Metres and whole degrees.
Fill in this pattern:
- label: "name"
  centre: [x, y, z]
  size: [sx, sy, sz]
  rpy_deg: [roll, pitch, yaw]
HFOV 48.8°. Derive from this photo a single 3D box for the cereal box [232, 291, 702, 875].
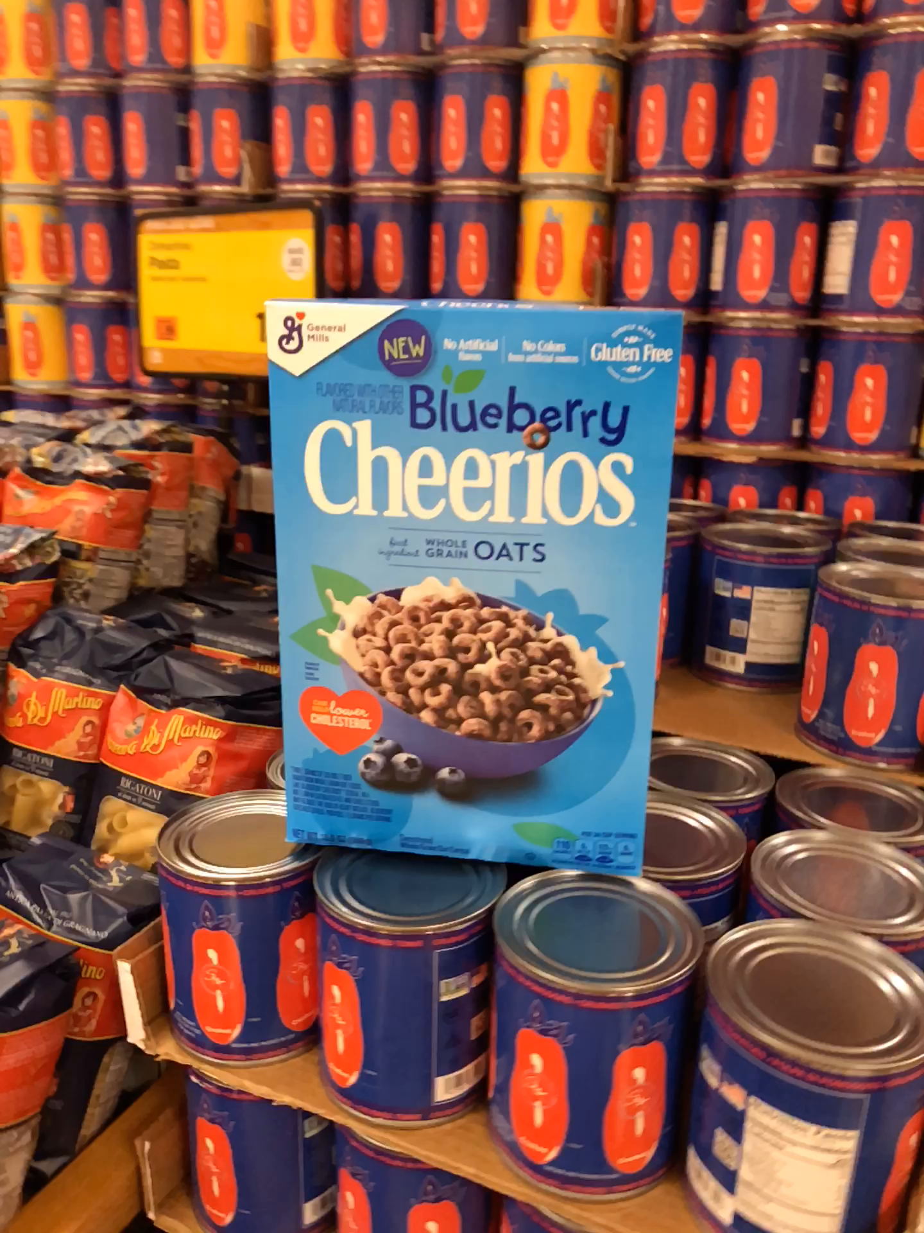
- label: "cereal box"
  centre: [0.000, -0.017, 0.520]
  size: [0.210, 0.278, 0.060]
  rpy_deg: [4, 17, 7]
